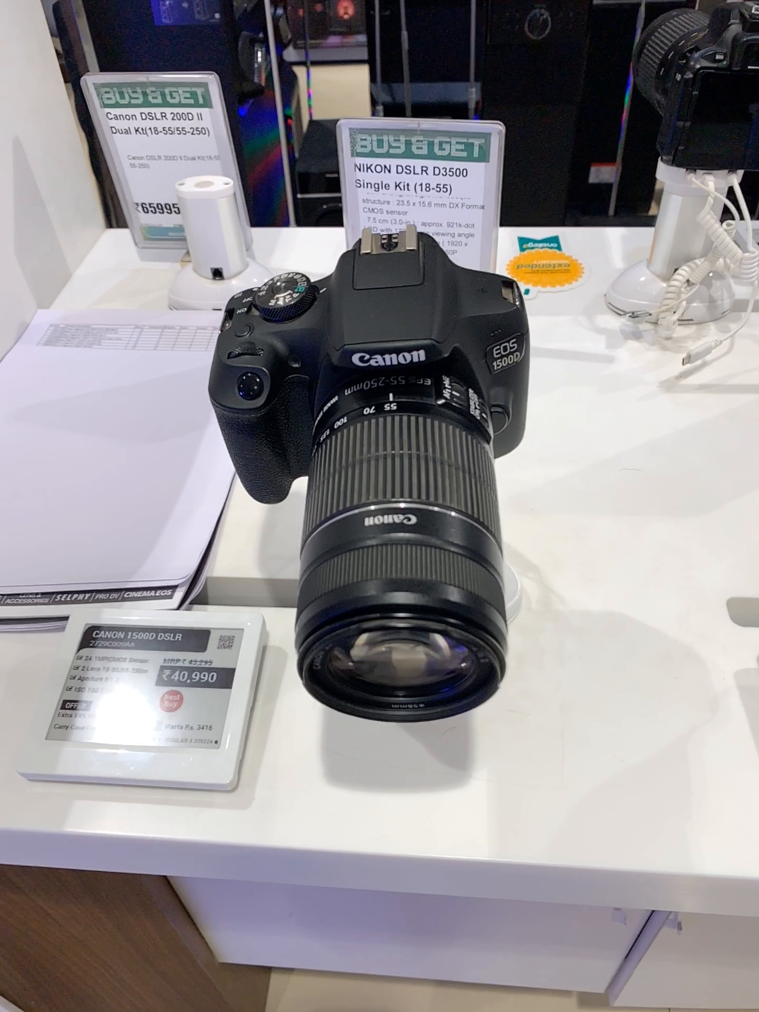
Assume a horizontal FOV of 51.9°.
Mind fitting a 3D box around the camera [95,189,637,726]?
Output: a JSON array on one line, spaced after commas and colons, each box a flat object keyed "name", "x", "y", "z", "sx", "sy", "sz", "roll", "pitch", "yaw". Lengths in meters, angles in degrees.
[{"name": "camera", "x": -0.001, "y": -0.029, "z": 0.286, "sx": 0.130, "sy": 0.090, "sz": 0.191, "roll": -1, "pitch": 45, "yaw": 3}]
